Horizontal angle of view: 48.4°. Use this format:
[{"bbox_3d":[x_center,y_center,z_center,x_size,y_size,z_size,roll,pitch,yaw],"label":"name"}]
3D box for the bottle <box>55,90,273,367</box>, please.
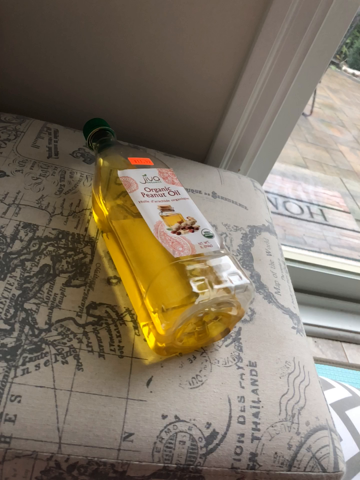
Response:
[{"bbox_3d":[-0.035,-0.032,0.367,0.080,0.070,0.271,-6,49,-32],"label":"bottle"}]
